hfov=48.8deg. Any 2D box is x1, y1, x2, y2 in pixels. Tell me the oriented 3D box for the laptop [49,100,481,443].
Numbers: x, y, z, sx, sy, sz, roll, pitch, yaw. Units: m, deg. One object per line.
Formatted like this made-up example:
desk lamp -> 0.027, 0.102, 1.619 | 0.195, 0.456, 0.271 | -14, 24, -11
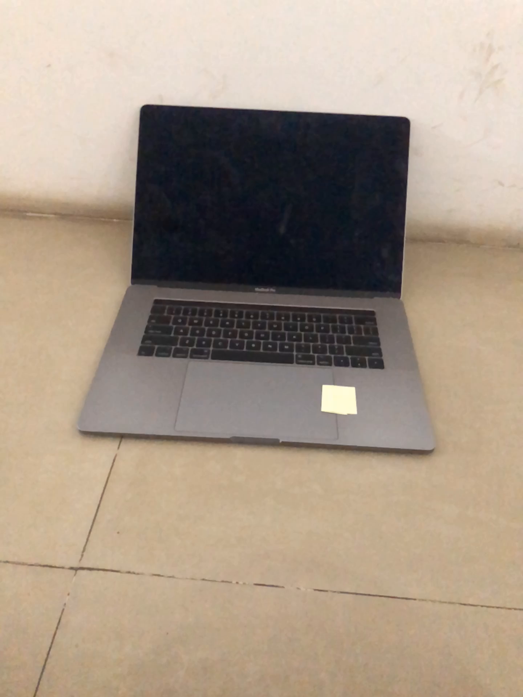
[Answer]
laptop -> 0.007, -0.111, 0.631 | 0.329, 0.162, 0.382 | 3, 43, 0
